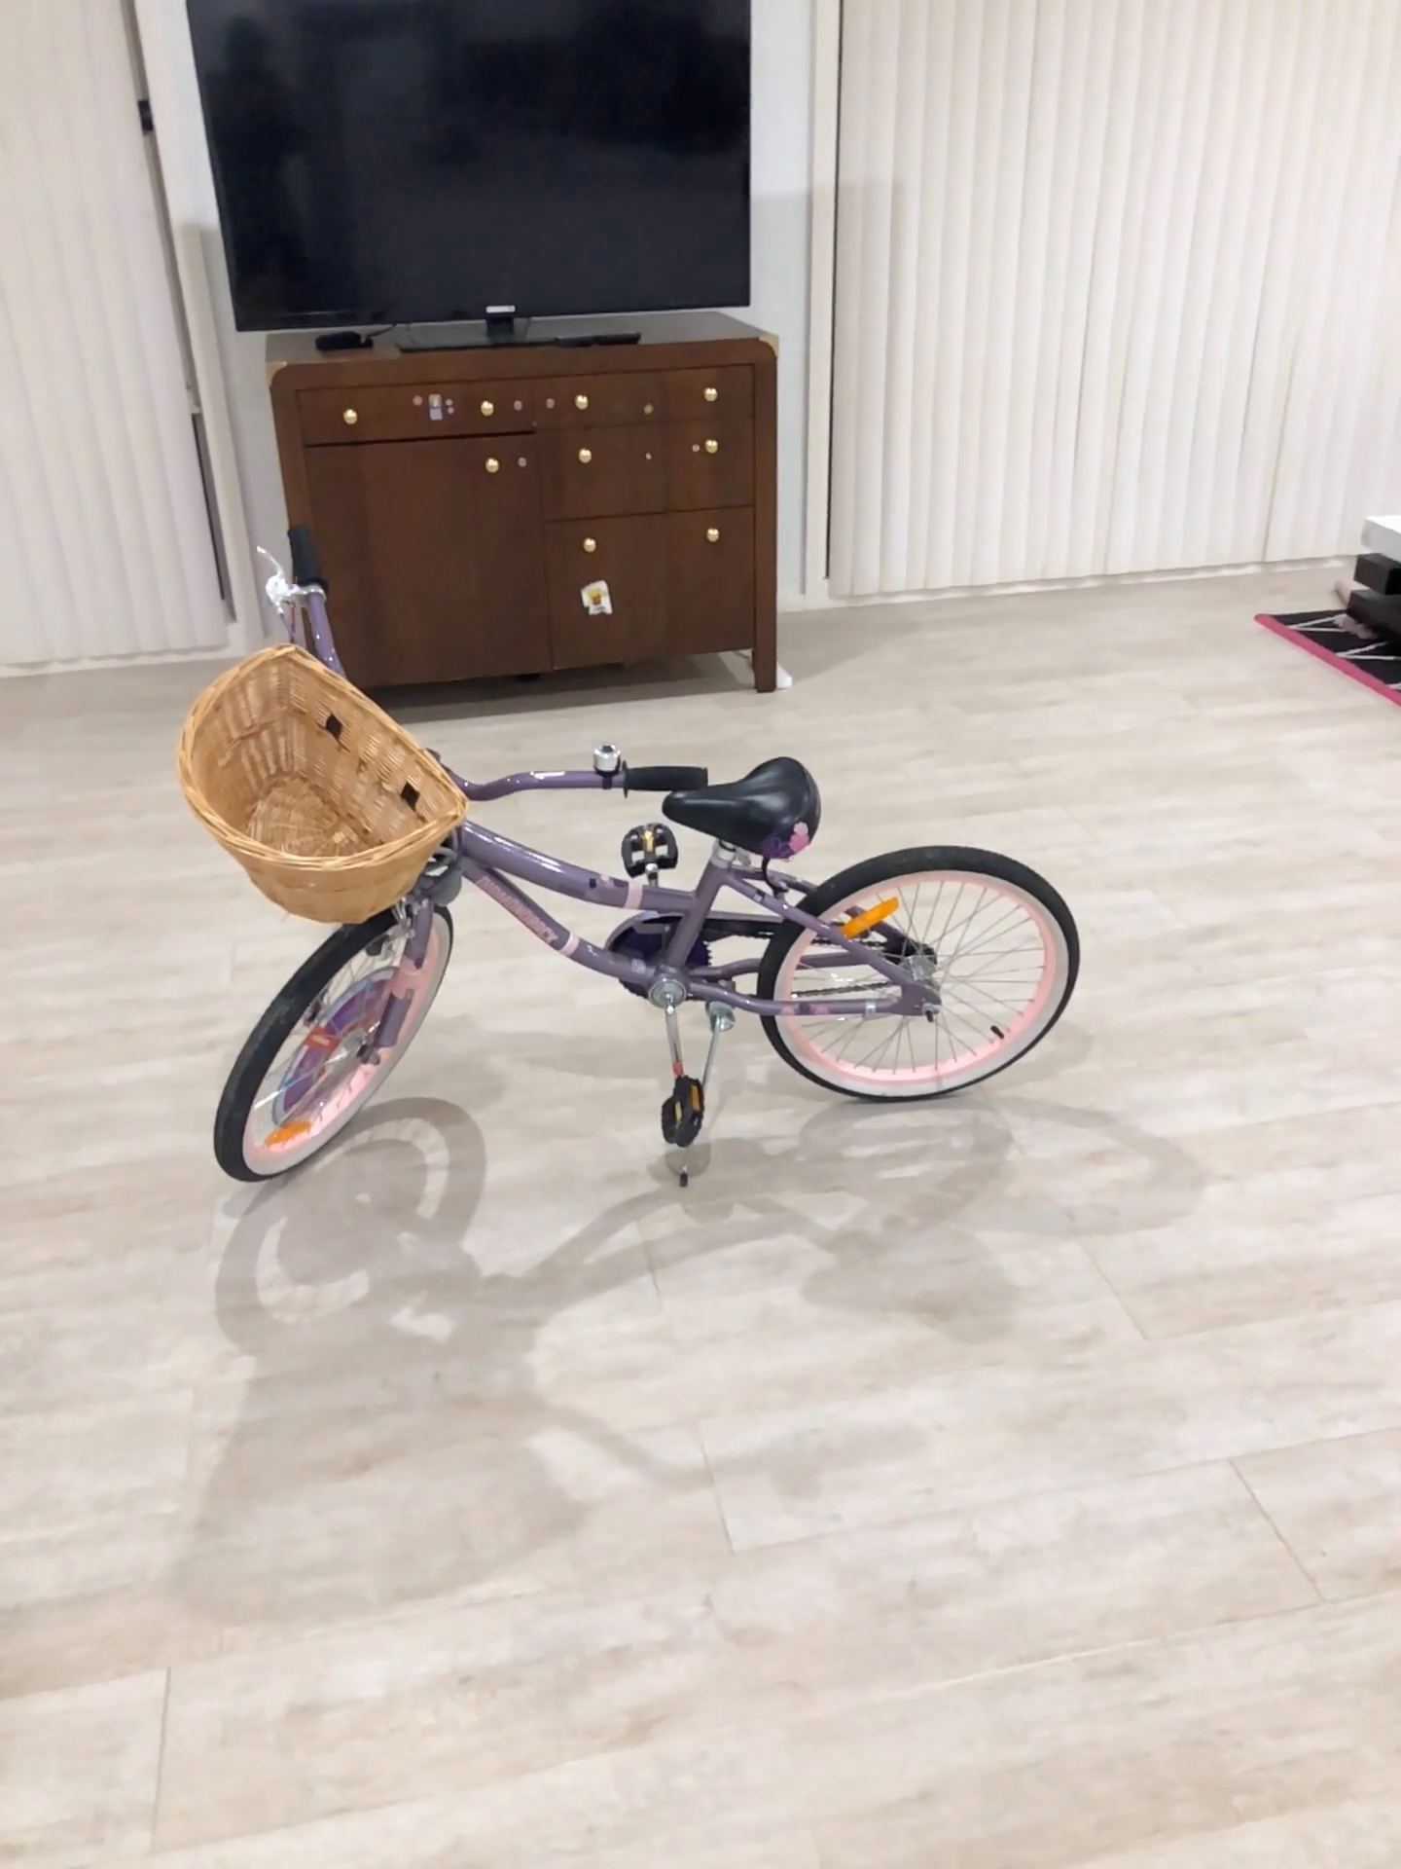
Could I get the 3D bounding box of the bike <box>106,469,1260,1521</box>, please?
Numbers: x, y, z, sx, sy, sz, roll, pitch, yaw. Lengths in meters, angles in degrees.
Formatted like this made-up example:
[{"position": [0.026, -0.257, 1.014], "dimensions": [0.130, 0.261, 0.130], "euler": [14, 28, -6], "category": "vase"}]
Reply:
[{"position": [-0.056, 0.010, 2.074], "dimensions": [1.215, 0.877, 0.751], "euler": [-12, 29, -9], "category": "bike"}]
